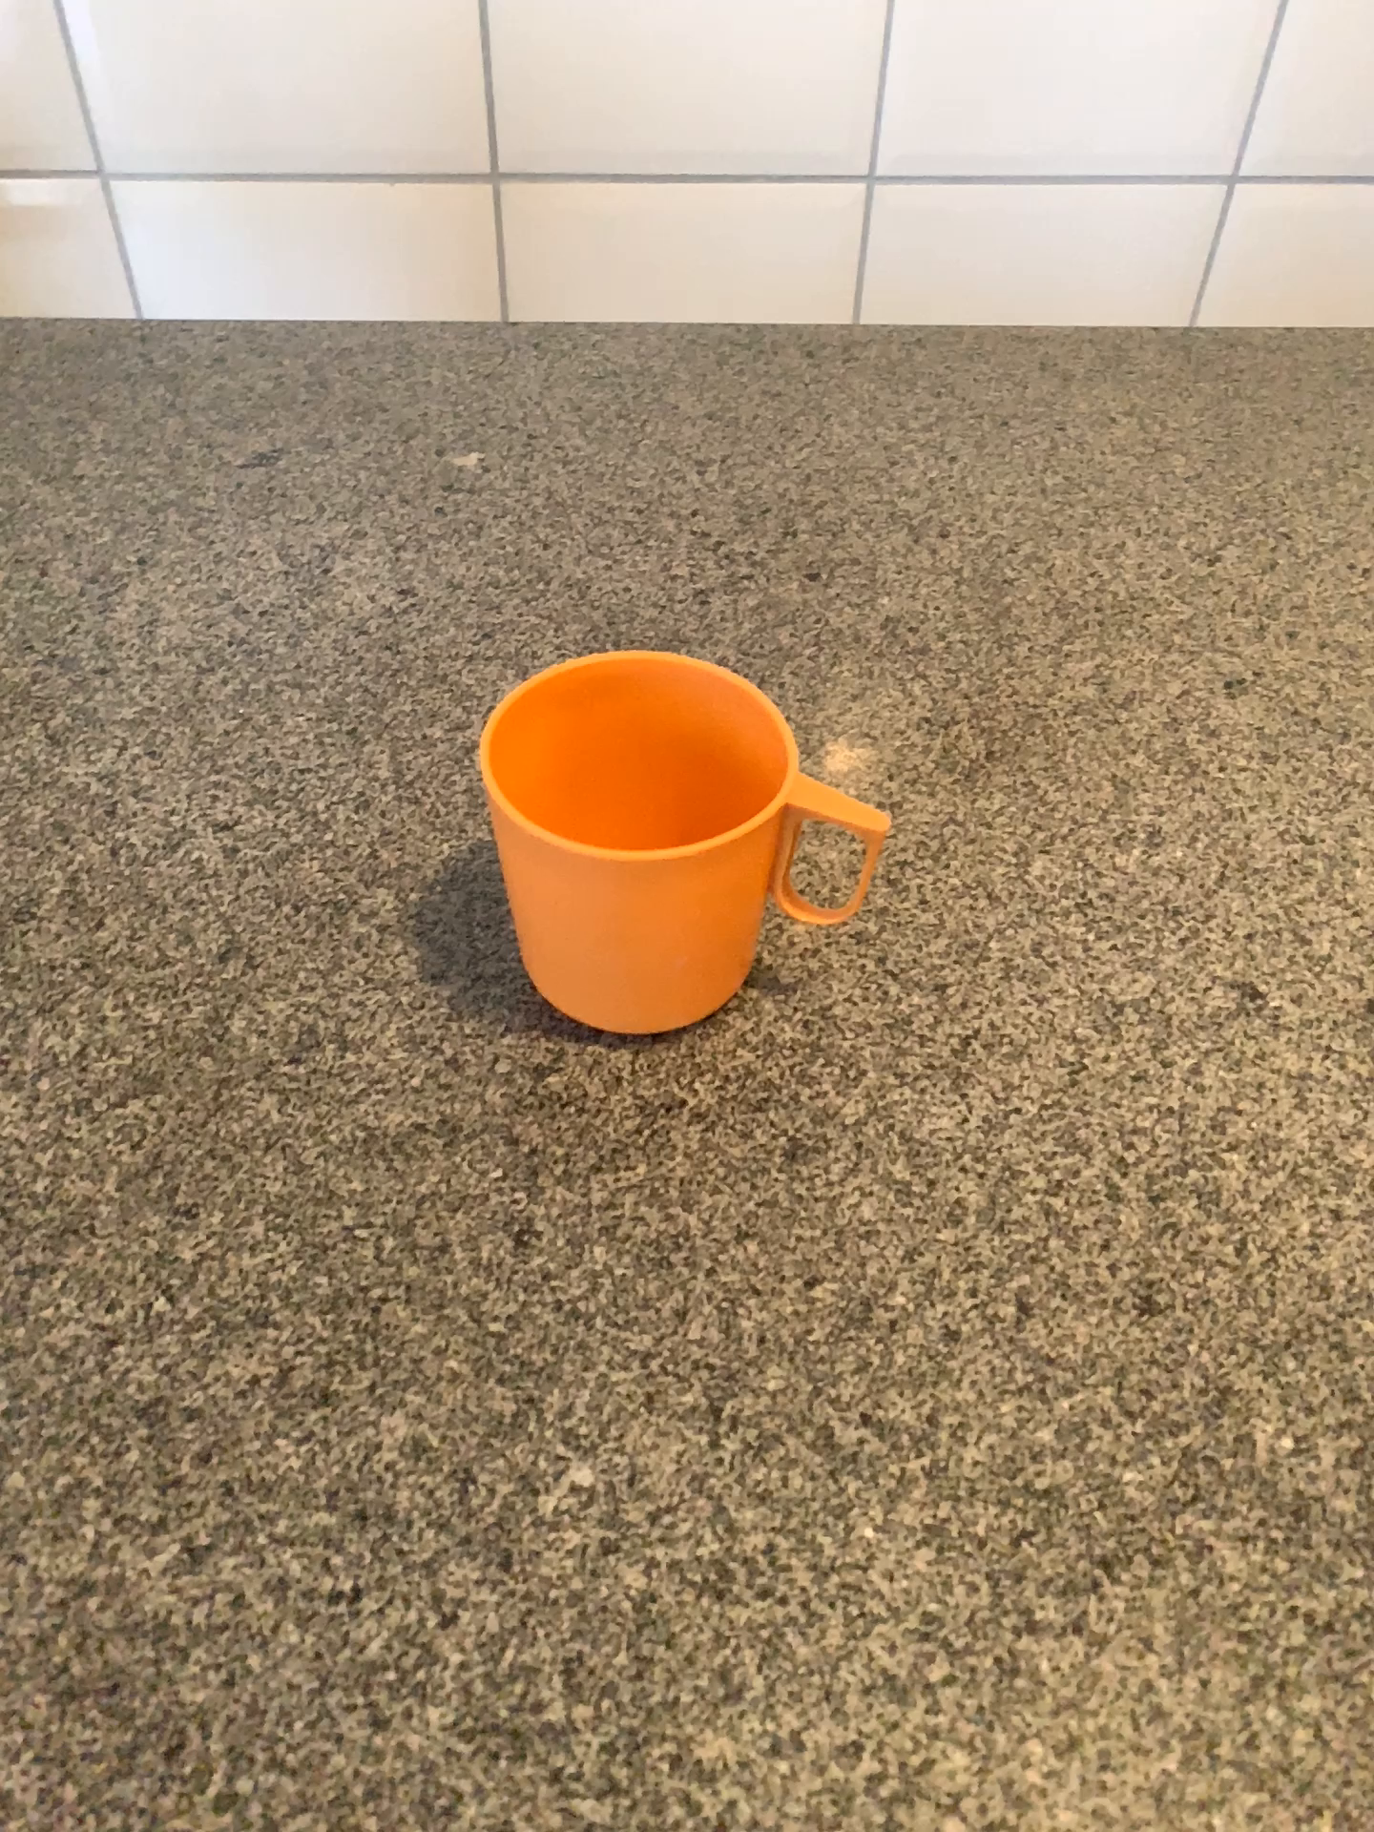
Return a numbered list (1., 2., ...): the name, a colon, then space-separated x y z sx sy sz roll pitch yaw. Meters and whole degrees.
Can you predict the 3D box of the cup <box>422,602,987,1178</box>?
1. cup: 0.005 -0.008 0.363 0.110 0.090 0.080 19 49 16
